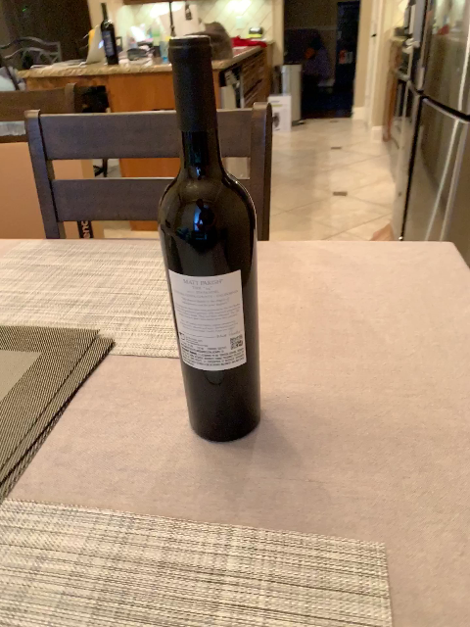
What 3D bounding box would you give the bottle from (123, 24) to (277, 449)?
[{"bbox_3d":[-0.010,-0.043,0.393,0.083,0.328,0.090,-3,31,2],"label":"bottle"}]
